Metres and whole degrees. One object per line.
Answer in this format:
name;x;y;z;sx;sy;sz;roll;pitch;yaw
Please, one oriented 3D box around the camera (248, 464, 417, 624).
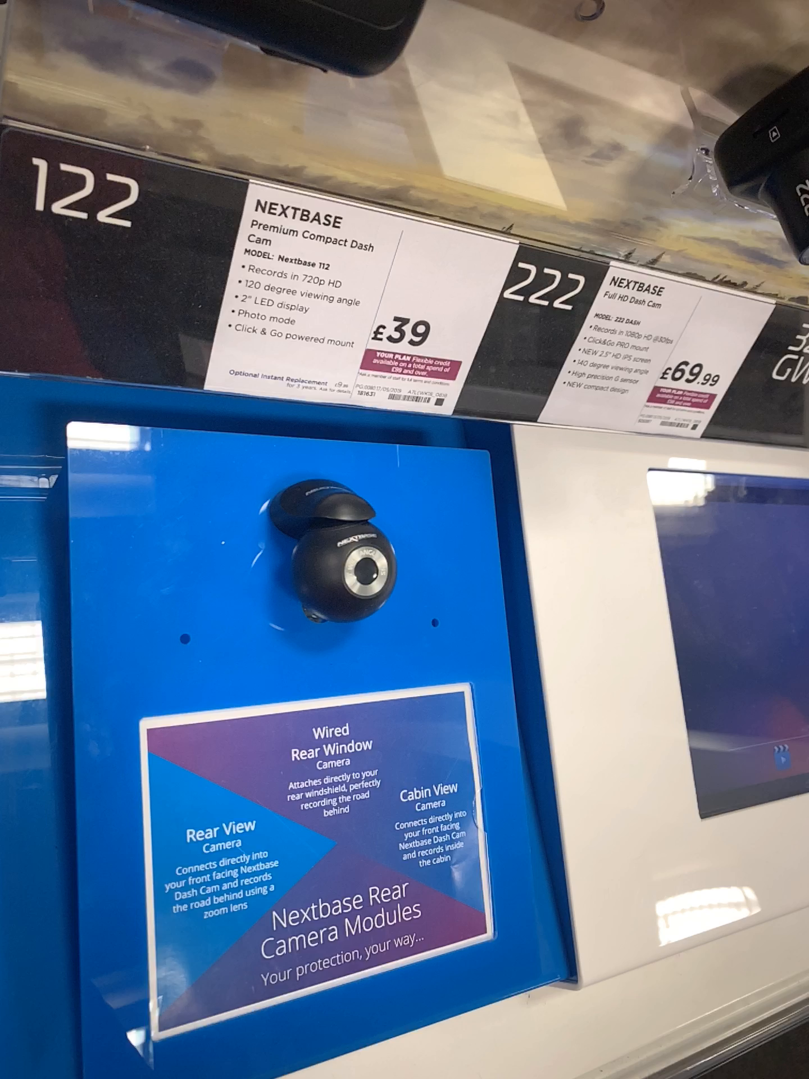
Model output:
camera;-0.027;0.002;0.292;0.040;0.050;0.050;-1;87;-31
